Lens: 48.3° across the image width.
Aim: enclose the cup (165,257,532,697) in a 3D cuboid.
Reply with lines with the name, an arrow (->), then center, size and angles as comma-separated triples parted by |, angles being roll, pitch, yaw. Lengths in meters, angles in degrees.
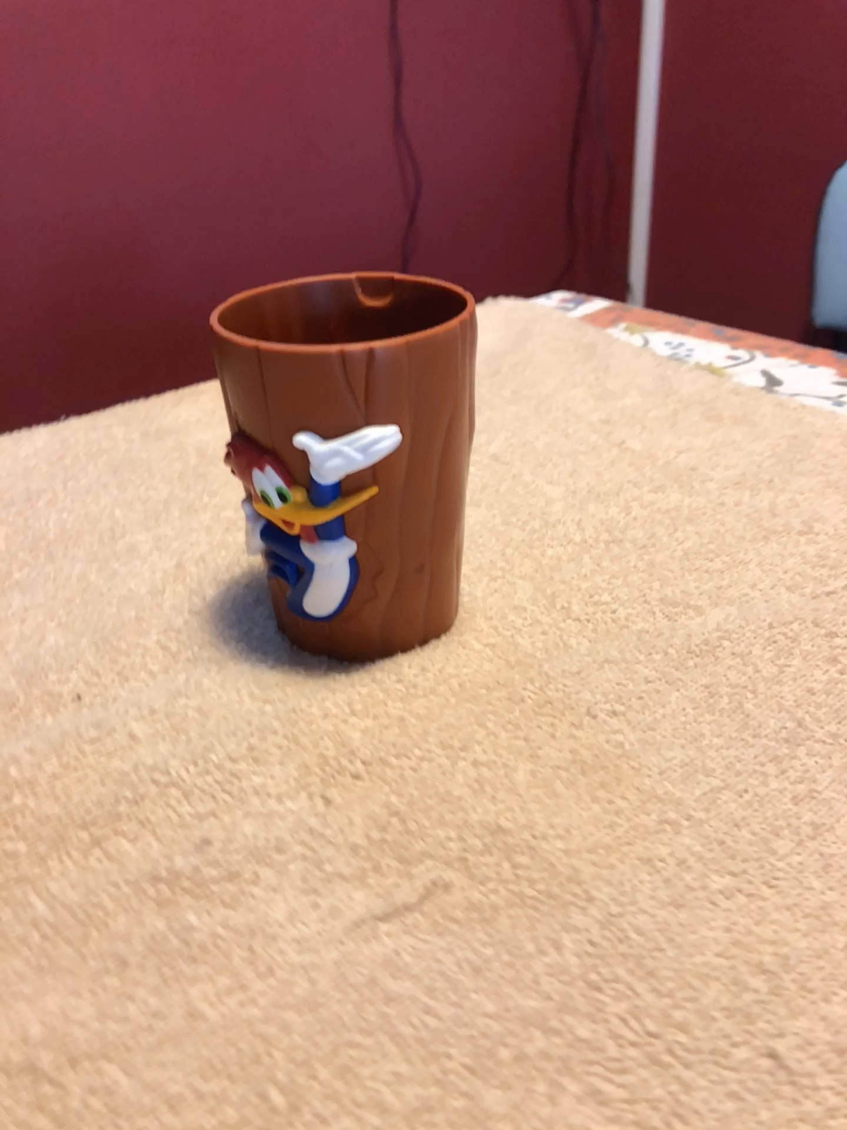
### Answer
cup -> -0.016, -0.035, 0.312 | 0.080, 0.109, 0.091 | 9, 31, 20
